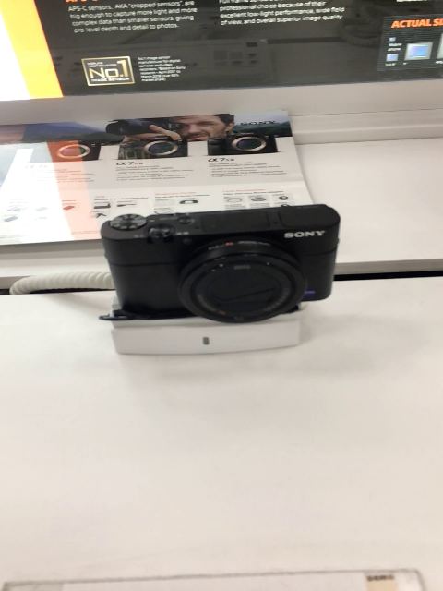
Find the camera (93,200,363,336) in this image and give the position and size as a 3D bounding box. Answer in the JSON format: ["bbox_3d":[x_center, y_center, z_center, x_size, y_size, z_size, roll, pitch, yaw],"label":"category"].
[{"bbox_3d":[0.003,-0.013,0.292,0.120,0.056,0.036,-4,46,-1],"label":"camera"}]
